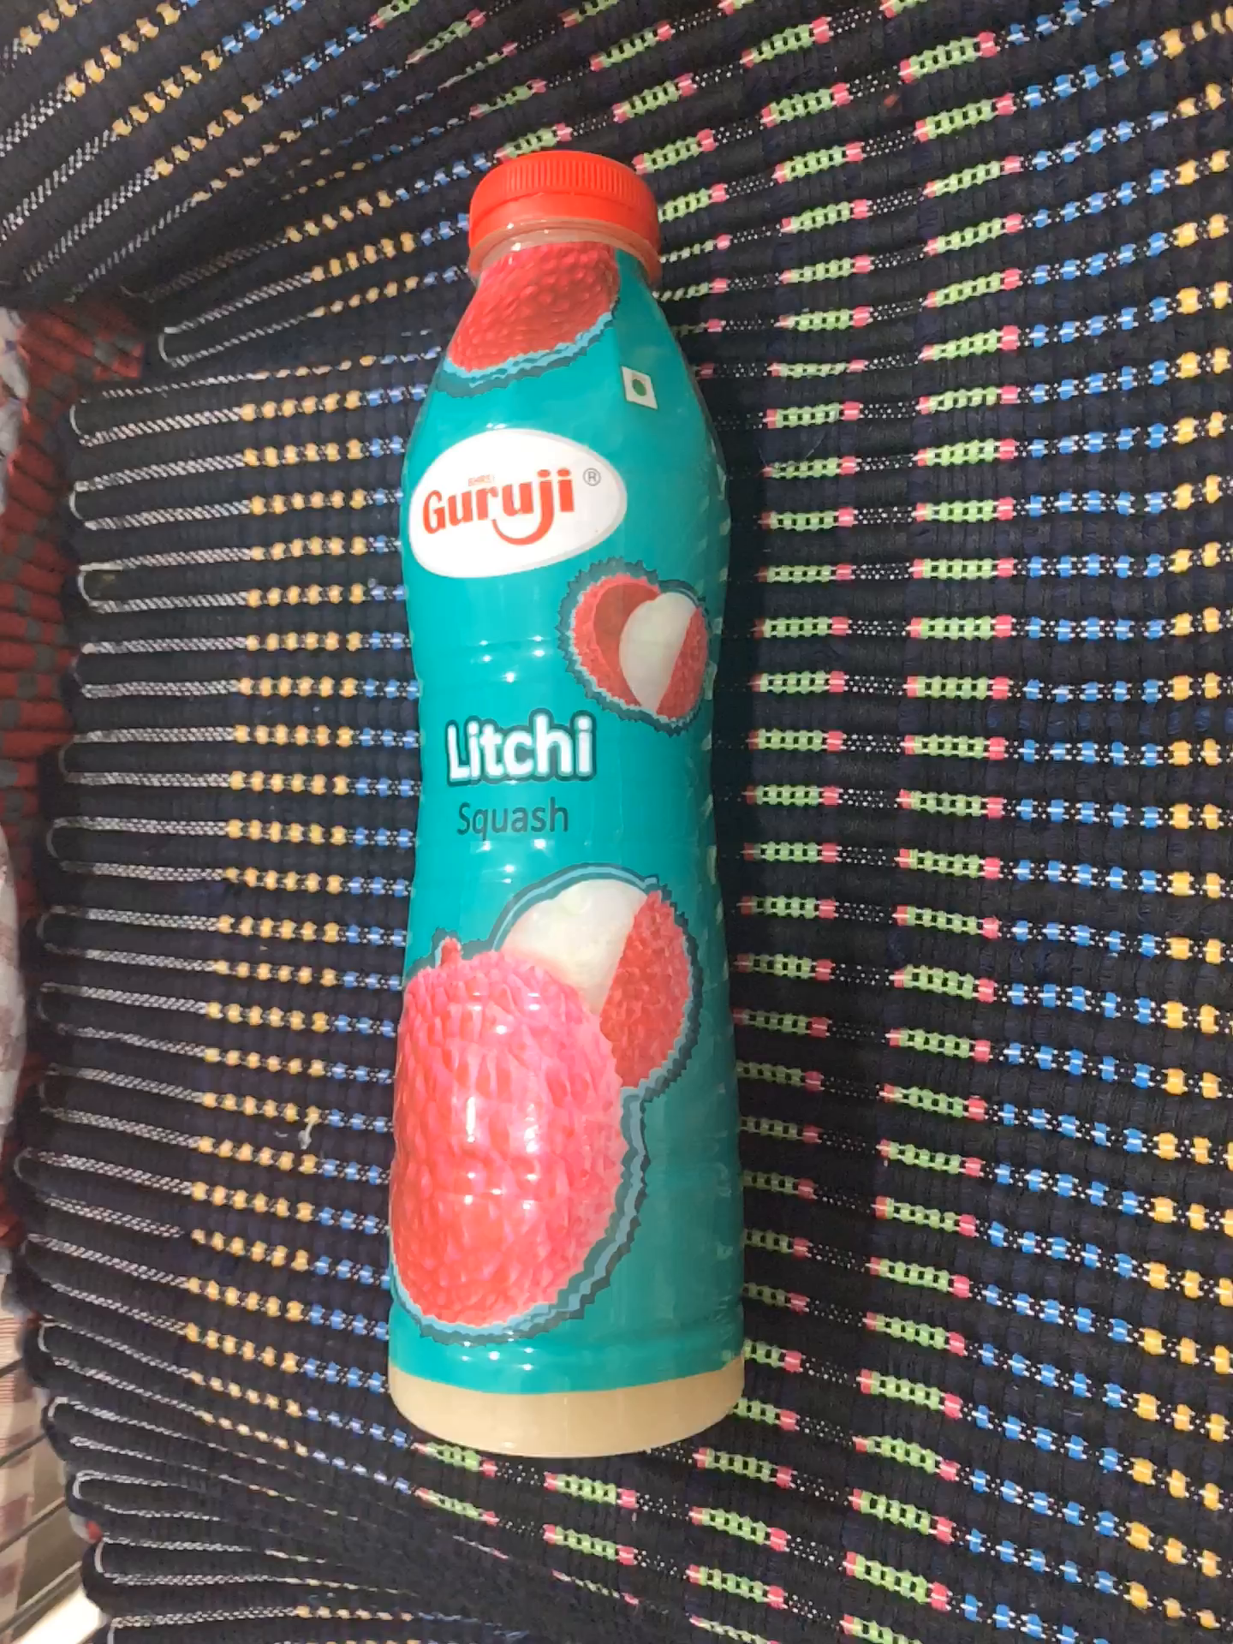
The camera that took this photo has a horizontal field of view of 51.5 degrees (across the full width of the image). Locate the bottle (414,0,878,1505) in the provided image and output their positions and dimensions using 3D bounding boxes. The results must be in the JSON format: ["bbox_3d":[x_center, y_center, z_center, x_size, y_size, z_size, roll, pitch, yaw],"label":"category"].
[{"bbox_3d":[0.012,-0.021,0.277,0.070,0.080,0.280,-3,80,21],"label":"bottle"}]
